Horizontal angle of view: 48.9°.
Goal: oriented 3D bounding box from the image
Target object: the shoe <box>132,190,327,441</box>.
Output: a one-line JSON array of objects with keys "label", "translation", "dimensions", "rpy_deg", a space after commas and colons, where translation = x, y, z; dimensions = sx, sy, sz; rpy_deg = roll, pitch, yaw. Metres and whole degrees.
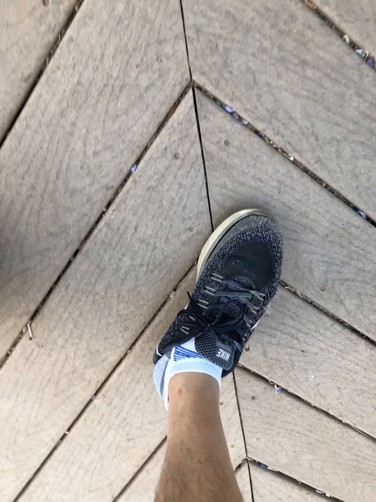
[{"label": "shoe", "translation": [0.043, 0.087, 0.565], "dimensions": [0.130, 0.100, 0.300], "rpy_deg": [22, 101, -14]}]
